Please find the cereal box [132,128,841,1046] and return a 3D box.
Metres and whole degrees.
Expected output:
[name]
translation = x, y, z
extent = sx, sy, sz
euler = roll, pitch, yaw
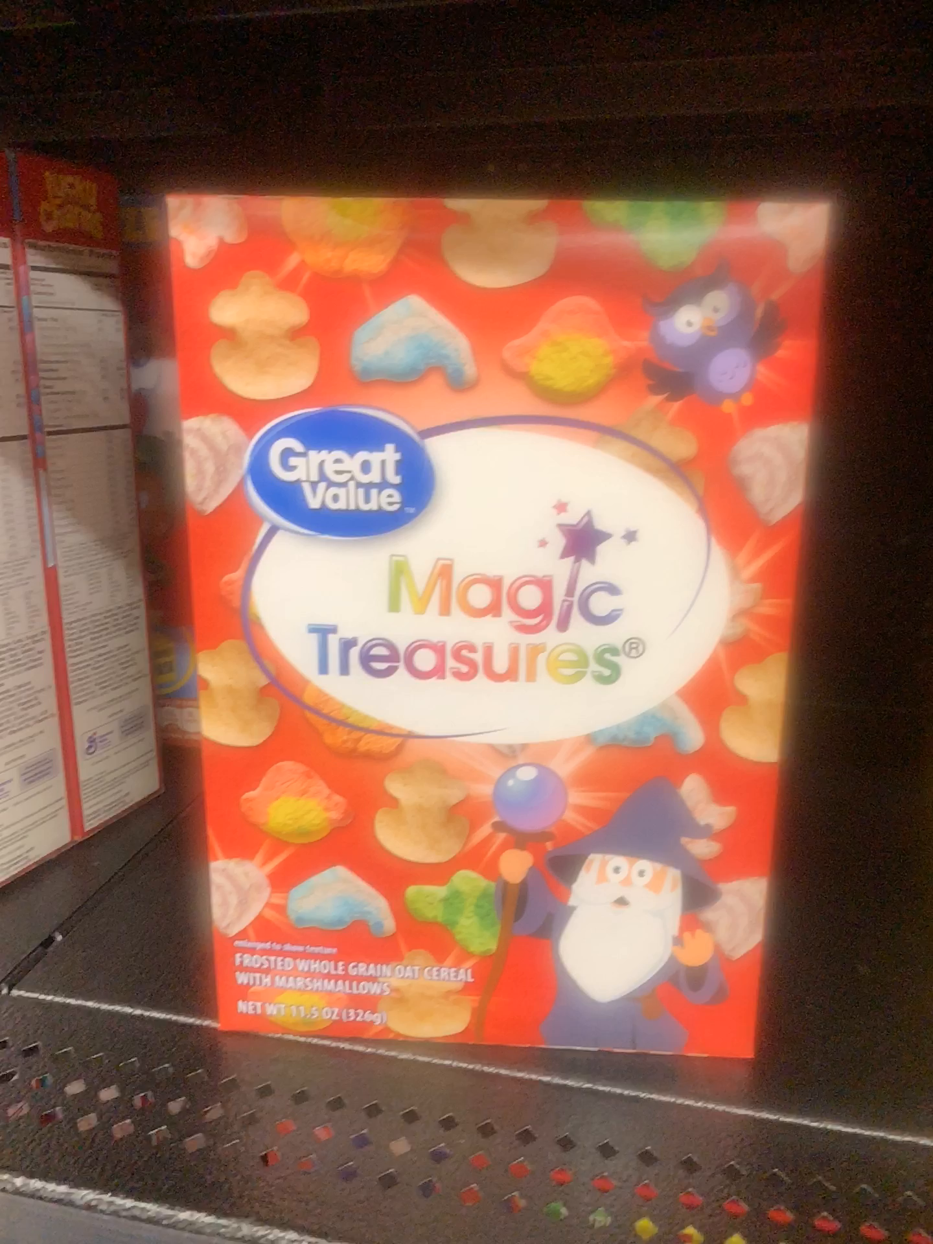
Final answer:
[cereal box]
translation = 0.005, -0.007, 0.331
extent = 0.200, 0.279, 0.070
euler = 1, 11, 4
